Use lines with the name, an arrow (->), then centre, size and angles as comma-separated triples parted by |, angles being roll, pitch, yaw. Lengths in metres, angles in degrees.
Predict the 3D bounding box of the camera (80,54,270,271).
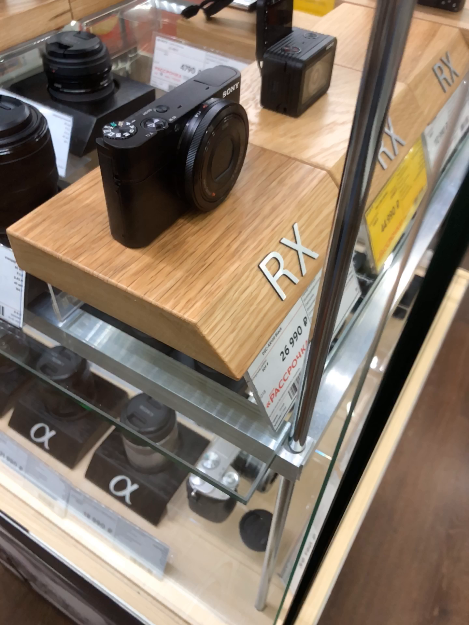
camera -> -0.025, -0.082, 0.277 | 0.037, 0.062, 0.106 | 25, 51, 19
